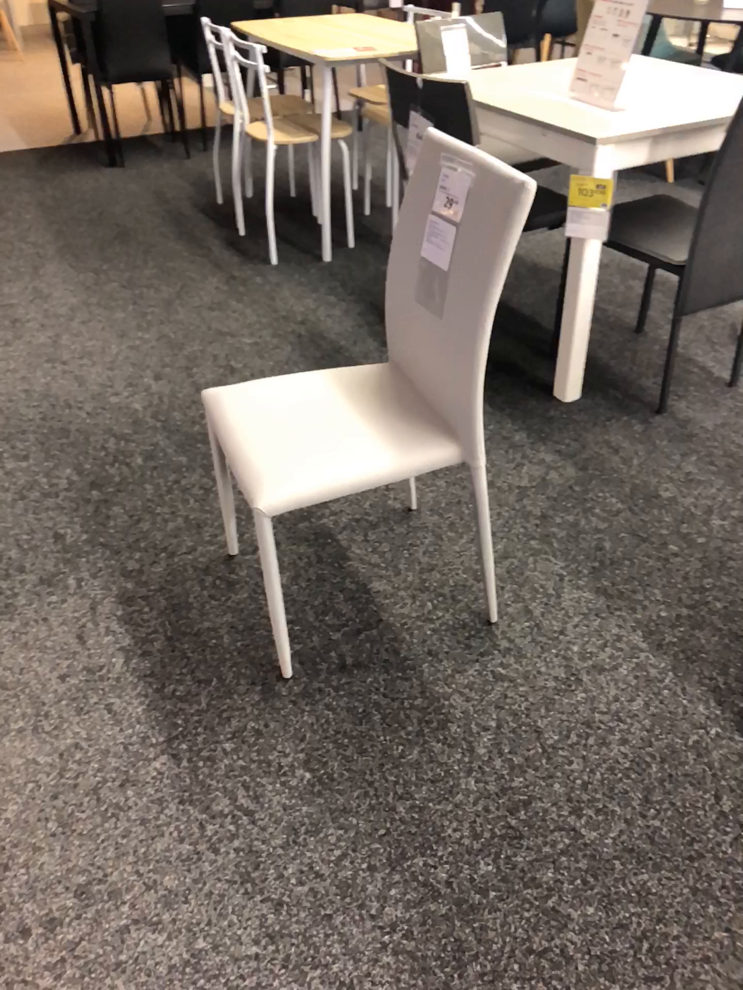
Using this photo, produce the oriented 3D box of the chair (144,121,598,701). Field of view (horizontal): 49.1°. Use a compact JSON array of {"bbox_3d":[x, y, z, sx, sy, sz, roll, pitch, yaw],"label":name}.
[{"bbox_3d":[-0.024,-0.164,1.476,0.541,0.815,0.502,-14,38,-18],"label":"chair"}]
